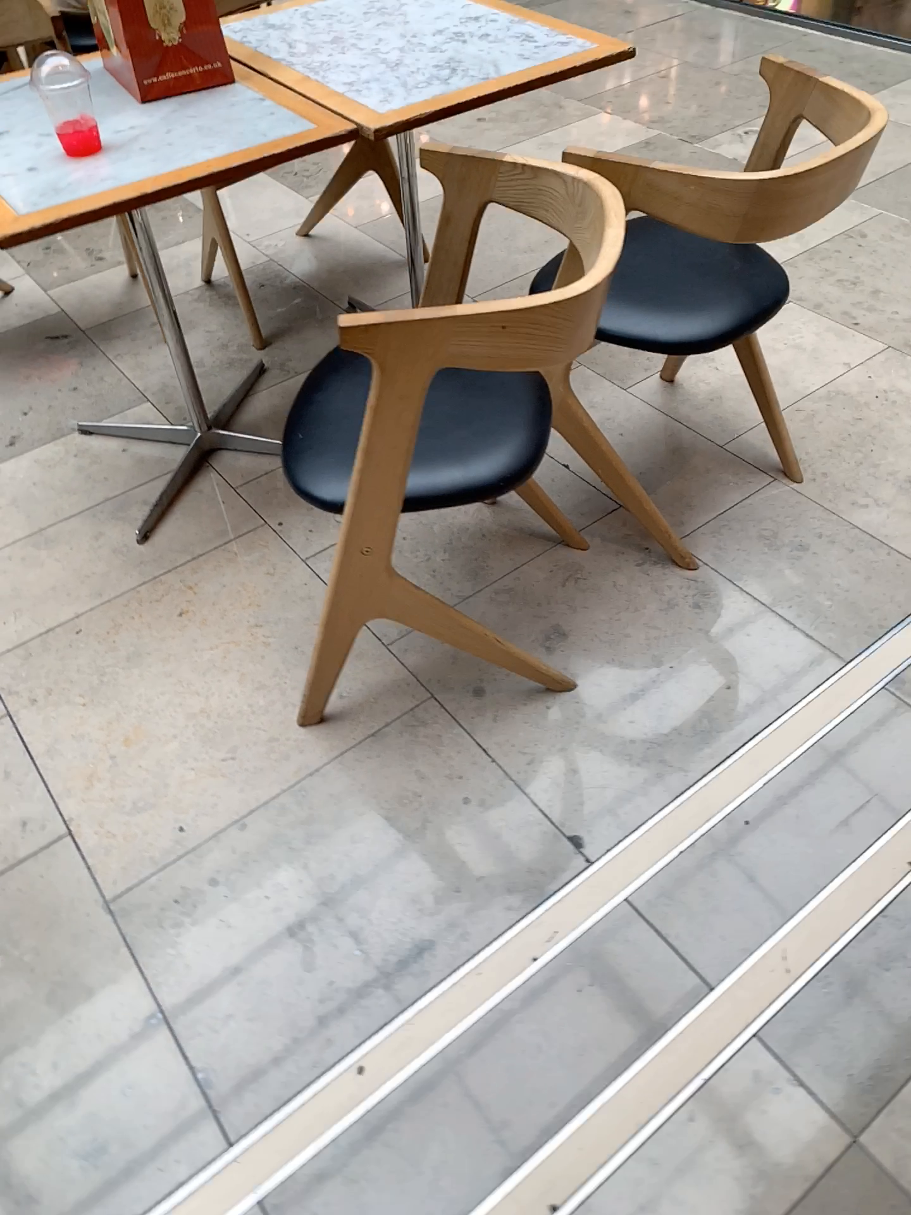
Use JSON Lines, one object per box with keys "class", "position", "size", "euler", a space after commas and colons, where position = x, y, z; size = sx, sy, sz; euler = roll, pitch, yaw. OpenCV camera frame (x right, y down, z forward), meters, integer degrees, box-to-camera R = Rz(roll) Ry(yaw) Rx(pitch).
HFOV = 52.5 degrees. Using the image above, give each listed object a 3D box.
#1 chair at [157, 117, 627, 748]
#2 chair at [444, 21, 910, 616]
{"class": "chair", "position": [-0.015, -0.273, 1.454], "size": [0.499, 0.708, 0.649], "euler": [4, 47, 8]}
{"class": "chair", "position": [0.413, -0.533, 1.677], "size": [0.636, 0.718, 0.532], "euler": [-37, 54, -27]}
